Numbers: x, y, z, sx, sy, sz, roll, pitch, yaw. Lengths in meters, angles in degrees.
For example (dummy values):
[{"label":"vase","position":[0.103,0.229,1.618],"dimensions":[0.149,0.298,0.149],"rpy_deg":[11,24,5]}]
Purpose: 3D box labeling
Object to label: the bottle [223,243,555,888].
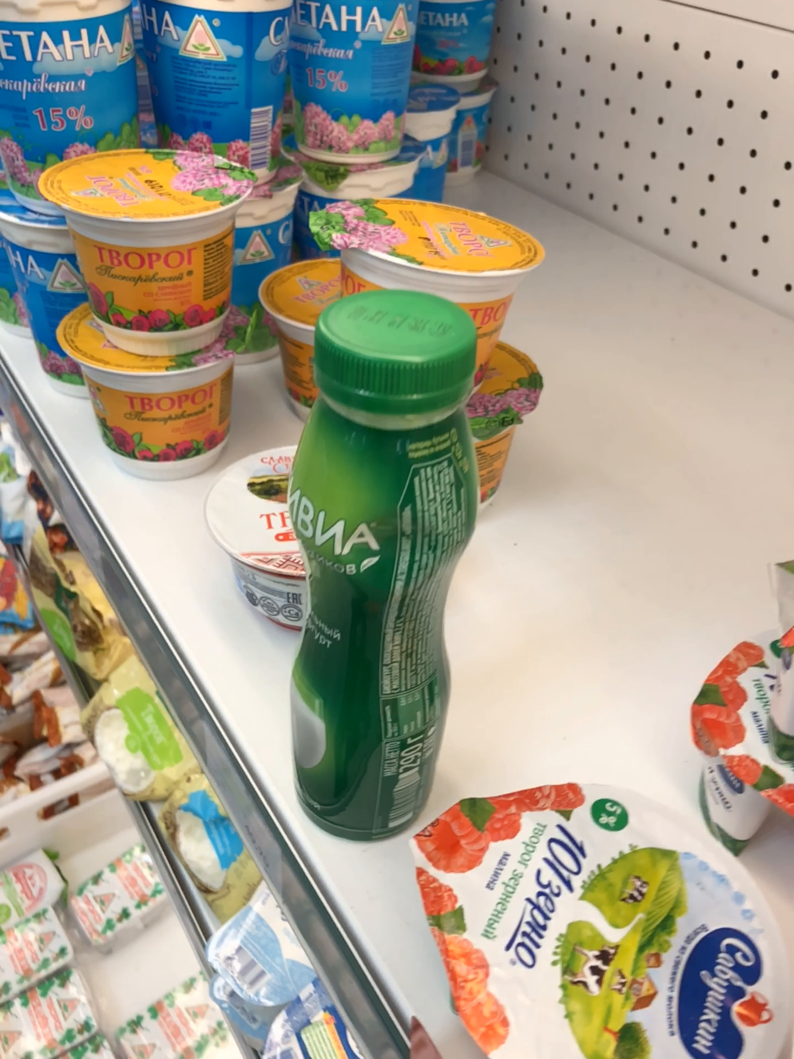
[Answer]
[{"label":"bottle","position":[-0.010,0.020,0.269],"dimensions":[0.060,0.189,0.070],"rpy_deg":[-10,41,-16]}]
